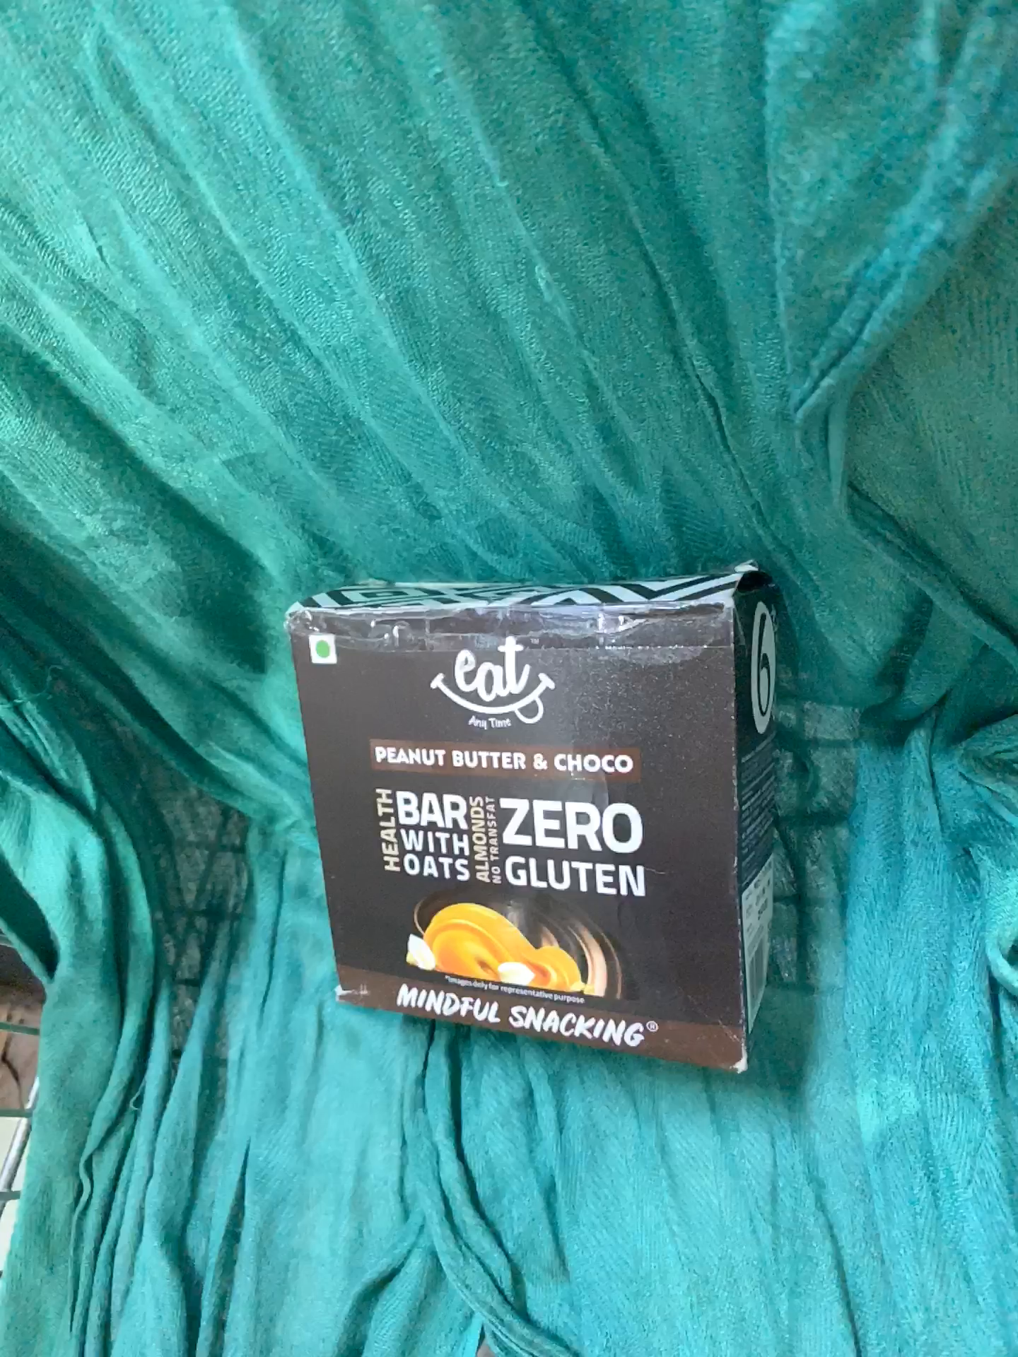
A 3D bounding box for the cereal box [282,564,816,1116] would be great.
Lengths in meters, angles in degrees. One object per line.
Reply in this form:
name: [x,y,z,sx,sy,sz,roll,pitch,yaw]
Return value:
cereal box: [0.018,0.039,0.338,0.140,0.090,0.140,0,99,25]
